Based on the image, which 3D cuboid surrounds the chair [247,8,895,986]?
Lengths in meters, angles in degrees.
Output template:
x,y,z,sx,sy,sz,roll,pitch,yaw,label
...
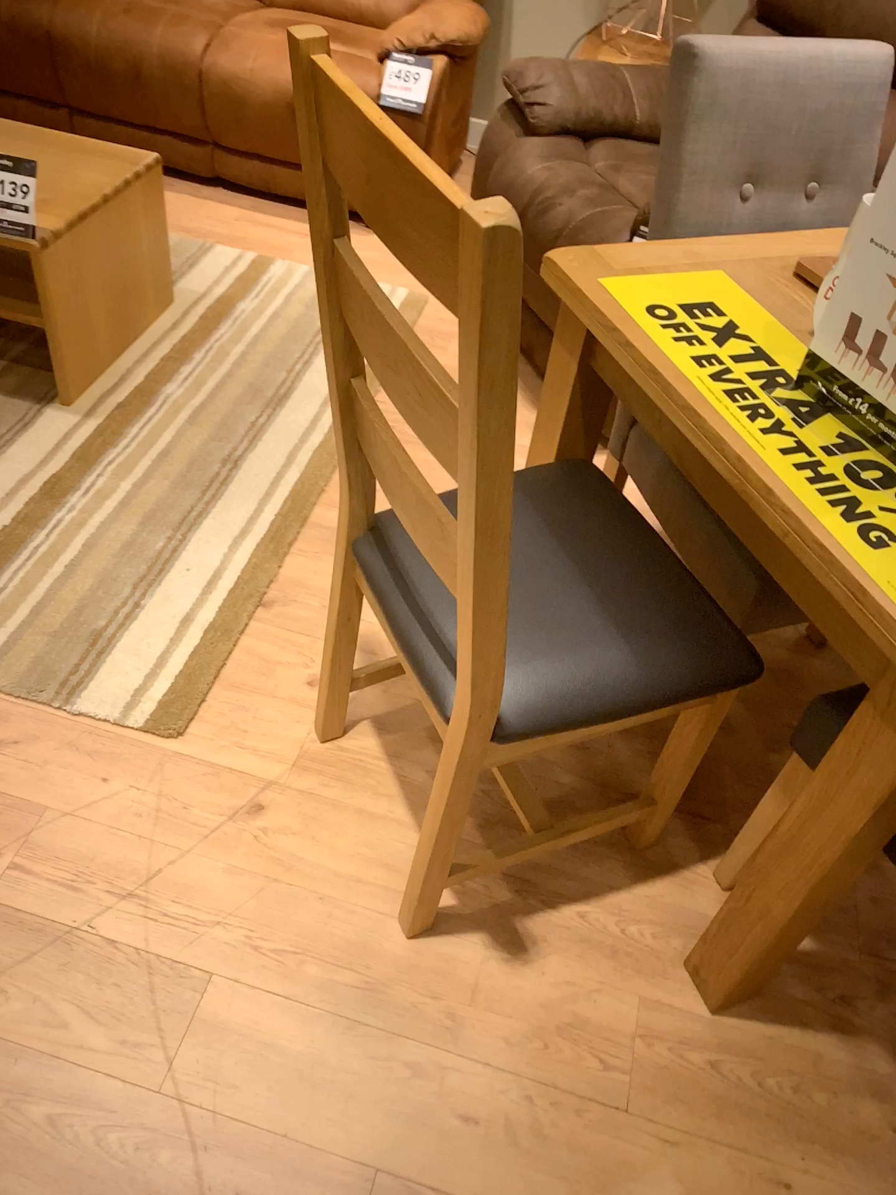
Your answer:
x,y,z,sx,sy,sz,roll,pitch,yaw,label
0.096,-0.045,1.167,0.551,1.100,0.473,-12,48,-20,chair
